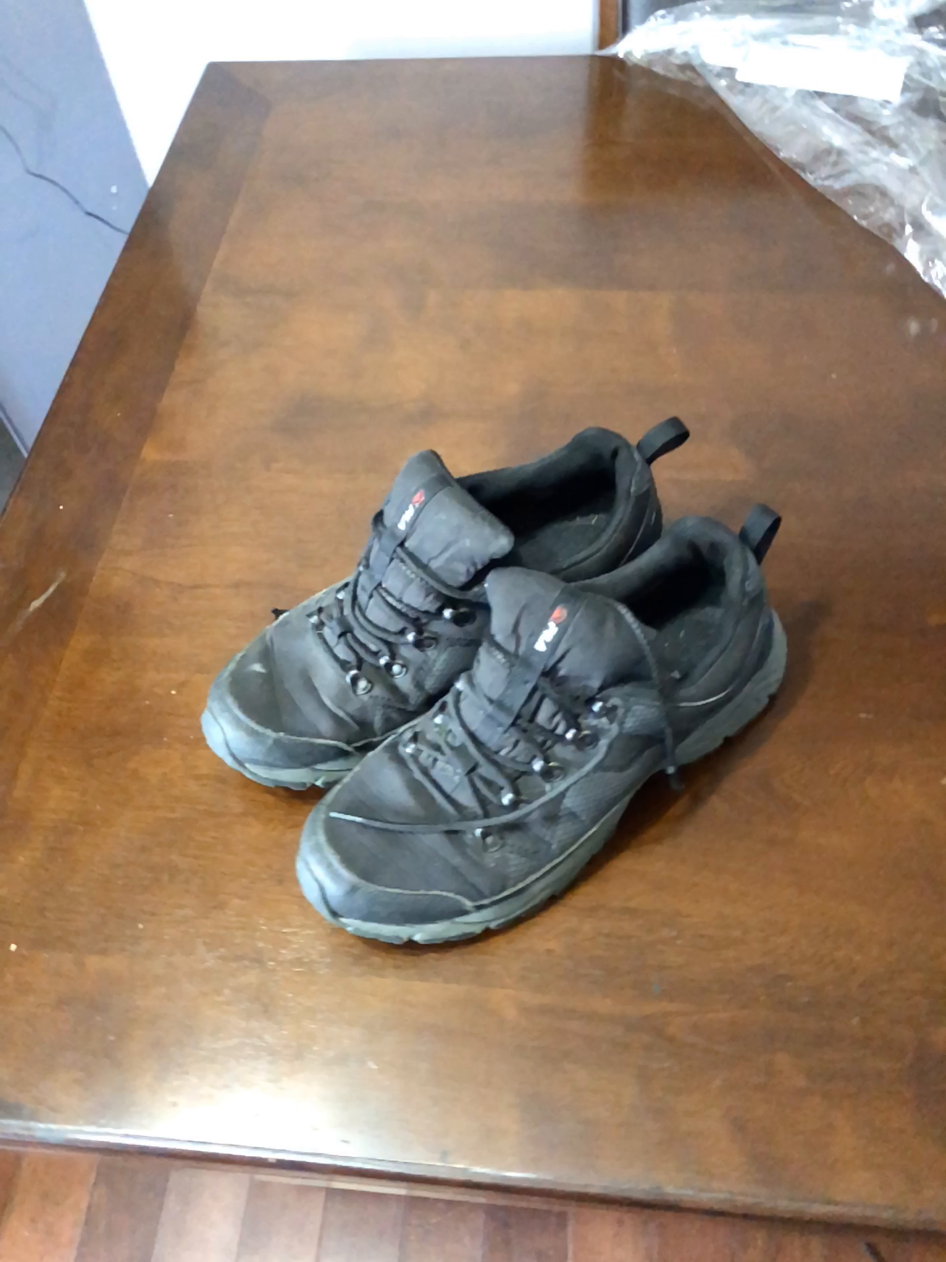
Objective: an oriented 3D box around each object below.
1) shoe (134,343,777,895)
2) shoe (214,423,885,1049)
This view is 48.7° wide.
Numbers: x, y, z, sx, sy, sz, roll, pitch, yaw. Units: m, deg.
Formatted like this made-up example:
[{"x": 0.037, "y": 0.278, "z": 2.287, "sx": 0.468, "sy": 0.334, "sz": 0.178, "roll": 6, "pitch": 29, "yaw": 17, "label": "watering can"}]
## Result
[{"x": -0.001, "y": -0.007, "z": 0.615, "sx": 0.320, "sy": 0.170, "sz": 0.120, "roll": -28, "pitch": 58, "yaw": -14, "label": "shoe"}, {"x": 0.048, "y": 0.051, "z": 0.563, "sx": 0.320, "sy": 0.150, "sz": 0.120, "roll": -35, "pitch": 60, "yaw": -18, "label": "shoe"}]
